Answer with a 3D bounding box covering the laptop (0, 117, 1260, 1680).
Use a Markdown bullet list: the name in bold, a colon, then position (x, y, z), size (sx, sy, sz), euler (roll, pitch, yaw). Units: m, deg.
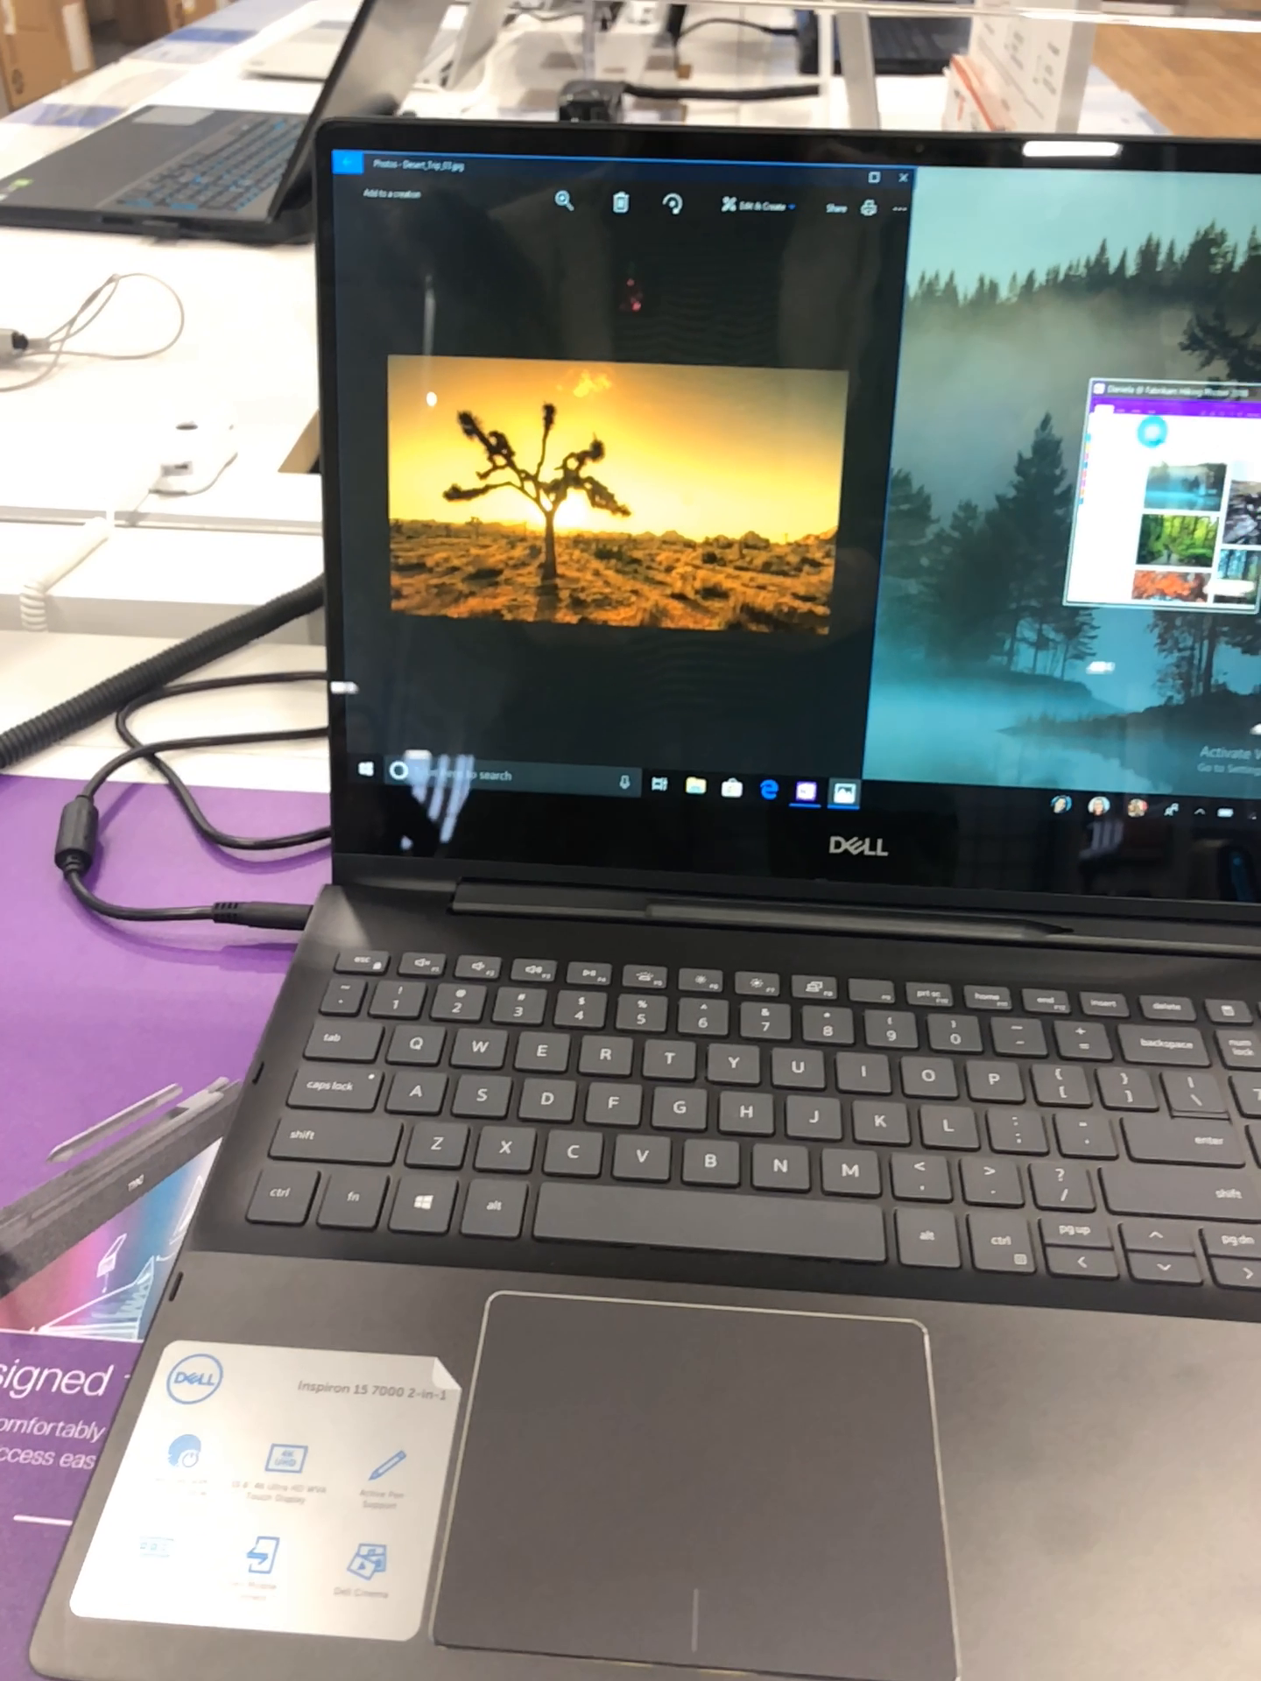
- **laptop**: position (0.068, -0.017, 0.327), size (0.340, 0.207, 0.325), euler (3, 38, 3)
